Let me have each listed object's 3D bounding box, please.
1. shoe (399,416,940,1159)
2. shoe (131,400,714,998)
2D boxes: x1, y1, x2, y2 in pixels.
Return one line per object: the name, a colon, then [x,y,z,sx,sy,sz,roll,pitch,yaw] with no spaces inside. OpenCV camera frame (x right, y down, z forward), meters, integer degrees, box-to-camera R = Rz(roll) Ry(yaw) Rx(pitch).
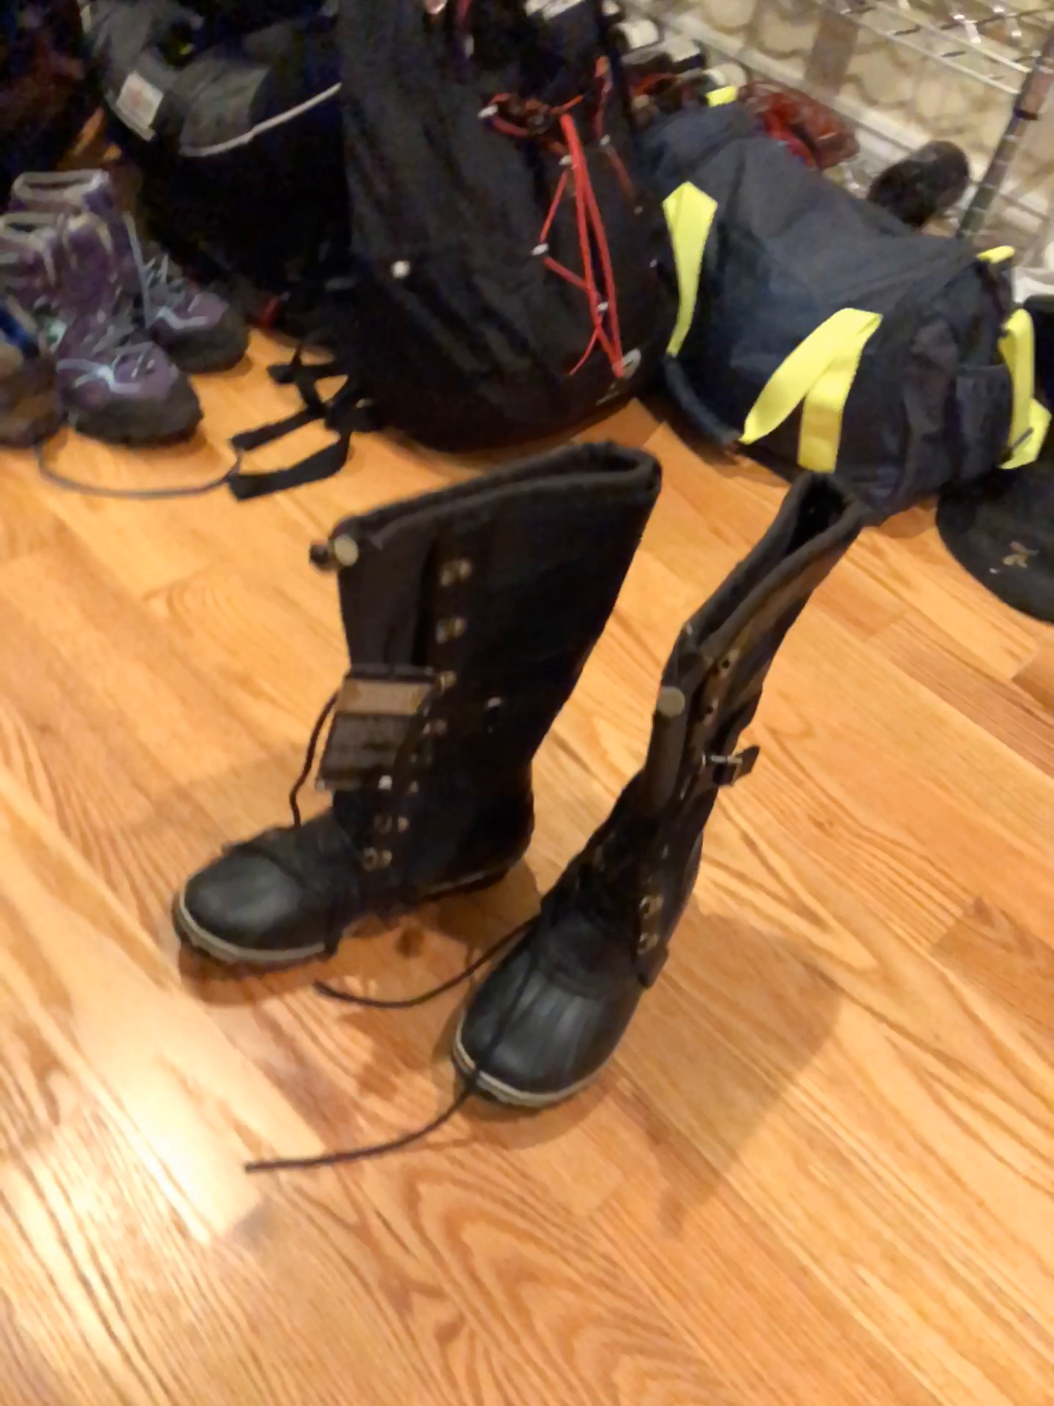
shoe: [0.068,0.052,0.633,0.100,0.328,0.261,32,48,16]
shoe: [-0.070,0.004,0.656,0.261,0.308,0.100,-16,53,-27]
